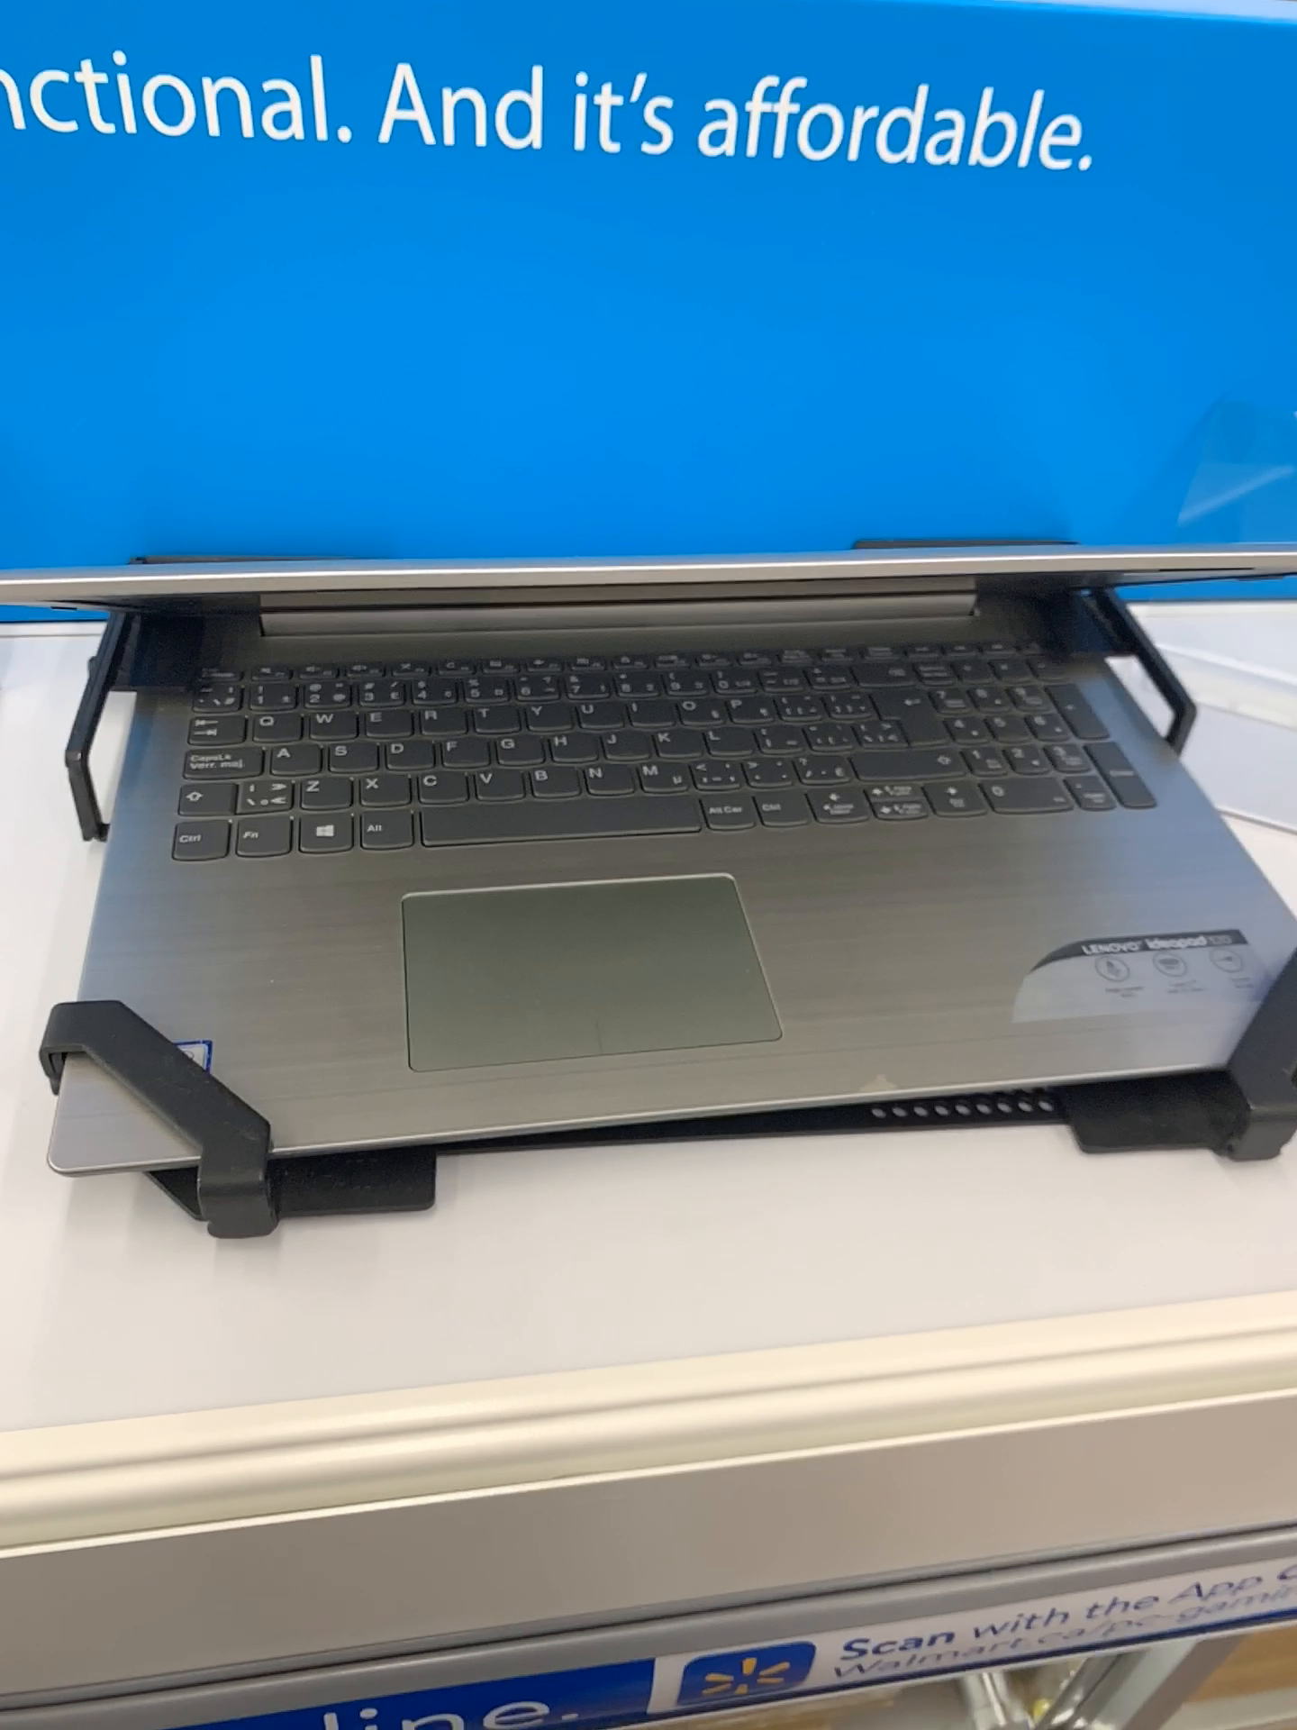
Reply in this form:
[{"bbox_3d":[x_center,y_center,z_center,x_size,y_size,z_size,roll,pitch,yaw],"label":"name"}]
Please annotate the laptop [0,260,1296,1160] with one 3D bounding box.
[{"bbox_3d":[0.017,-0.062,0.361,0.324,0.110,0.220,-3,43,-11],"label":"laptop"}]
